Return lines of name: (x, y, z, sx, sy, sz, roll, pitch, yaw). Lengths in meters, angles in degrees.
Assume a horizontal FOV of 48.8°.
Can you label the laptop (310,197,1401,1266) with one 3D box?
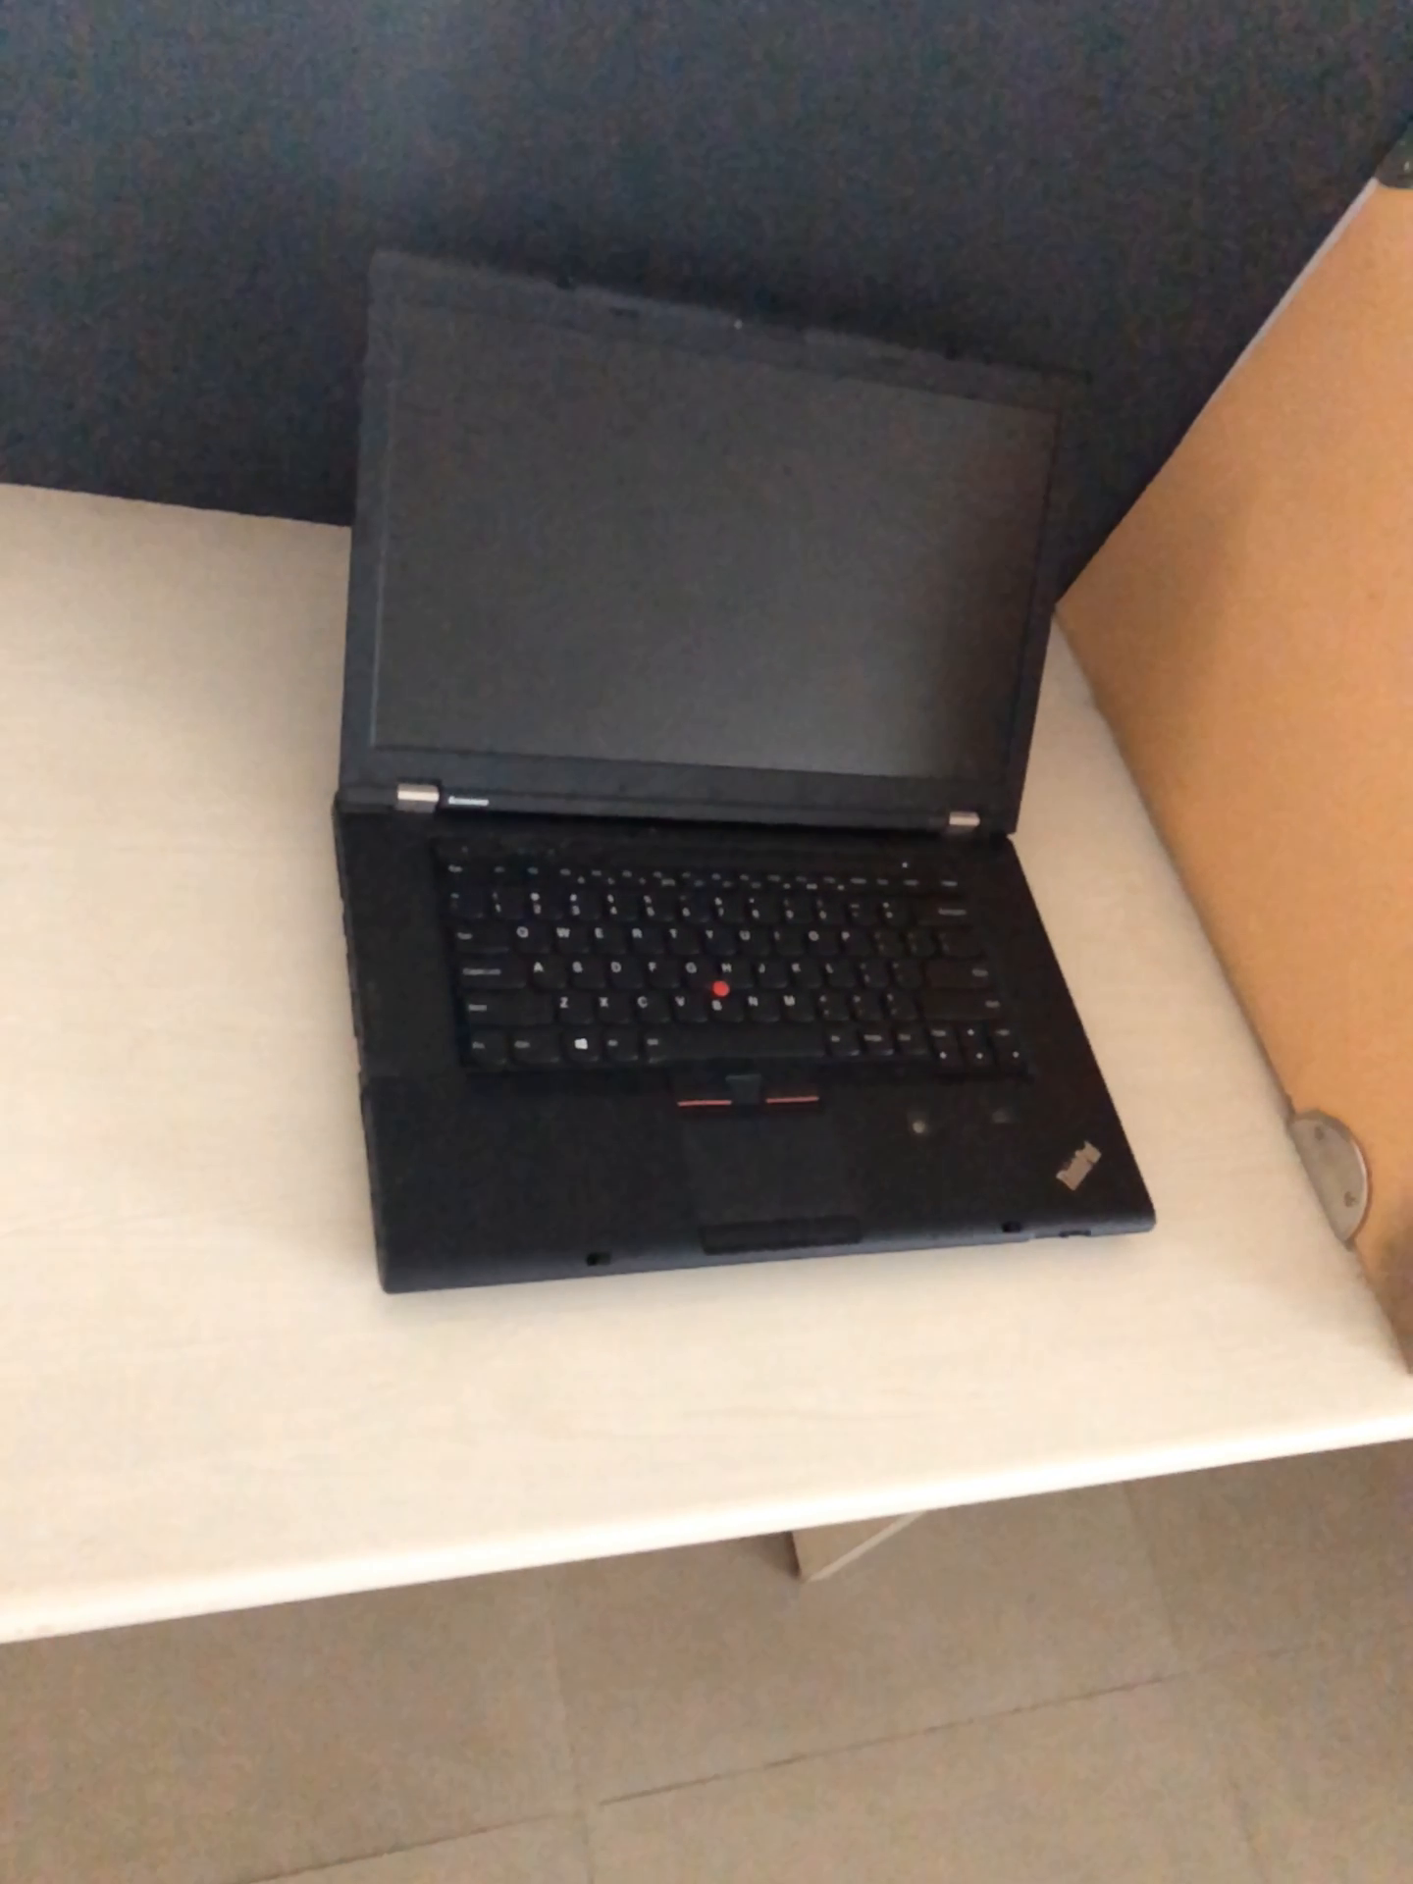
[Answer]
laptop: (0.036, -0.086, 0.692, 0.355, 0.185, 0.380, 1, 58, -24)
